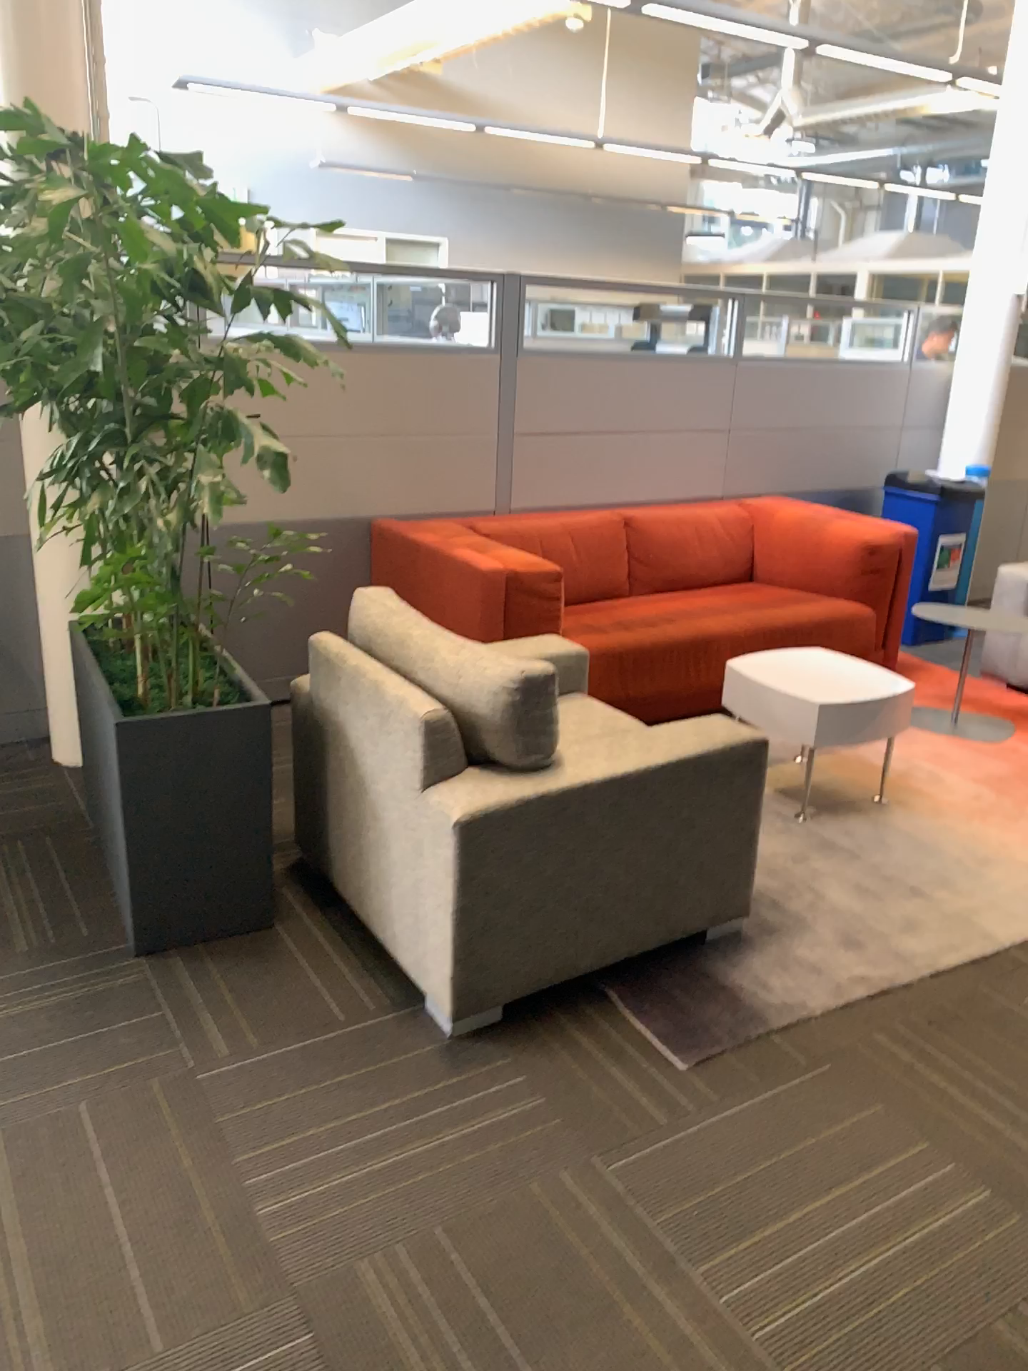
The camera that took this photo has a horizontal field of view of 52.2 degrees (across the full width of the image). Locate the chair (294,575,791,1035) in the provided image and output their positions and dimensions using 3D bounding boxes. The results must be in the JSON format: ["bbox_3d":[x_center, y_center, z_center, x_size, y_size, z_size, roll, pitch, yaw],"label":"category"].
[{"bbox_3d":[0.024,0.207,2.736,0.870,0.727,0.924,-10,22,-33],"label":"chair"}]
